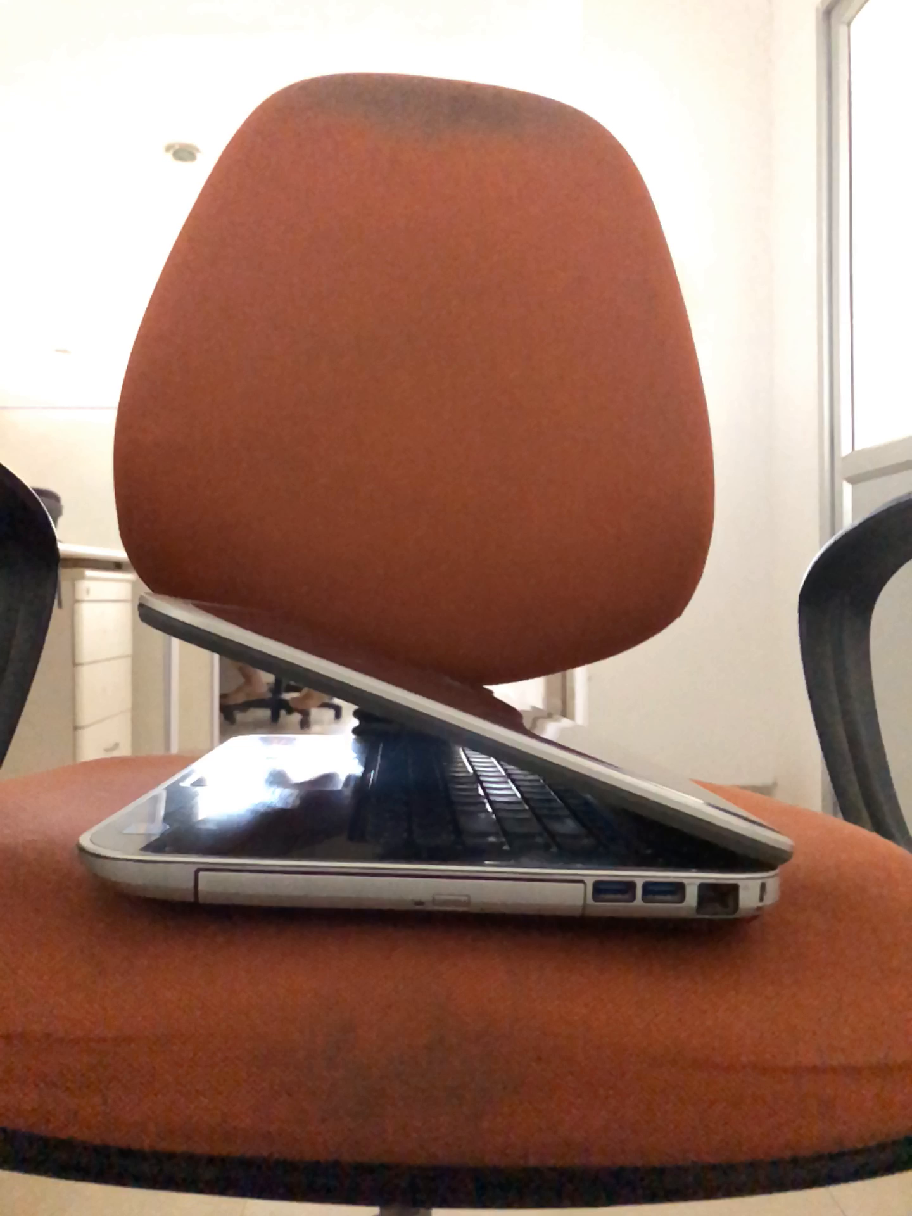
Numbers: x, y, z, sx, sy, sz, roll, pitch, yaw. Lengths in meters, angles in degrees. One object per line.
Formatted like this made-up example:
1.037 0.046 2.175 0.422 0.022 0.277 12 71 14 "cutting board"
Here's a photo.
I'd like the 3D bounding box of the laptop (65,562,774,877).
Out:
-0.020 0.042 0.514 0.233 0.091 0.366 3 -1 -3 "laptop"
